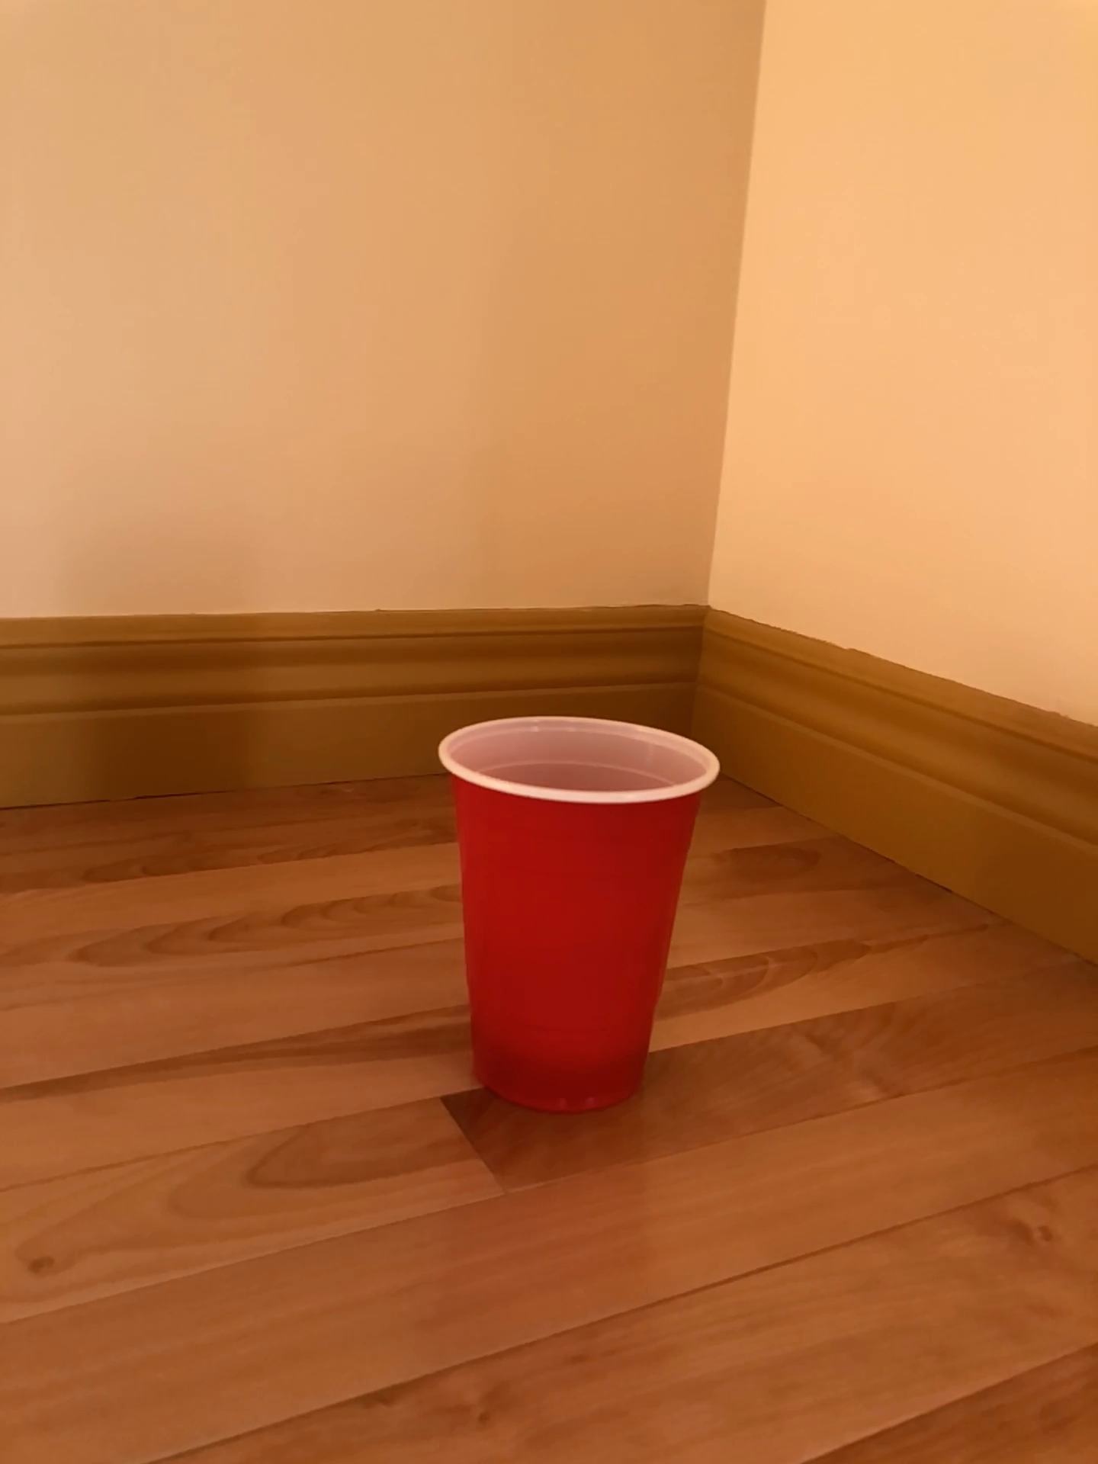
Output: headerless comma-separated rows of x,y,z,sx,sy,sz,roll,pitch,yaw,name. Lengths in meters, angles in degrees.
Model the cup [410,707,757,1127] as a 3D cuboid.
0.007,0.058,0.415,0.100,0.110,0.100,3,14,-1,cup
